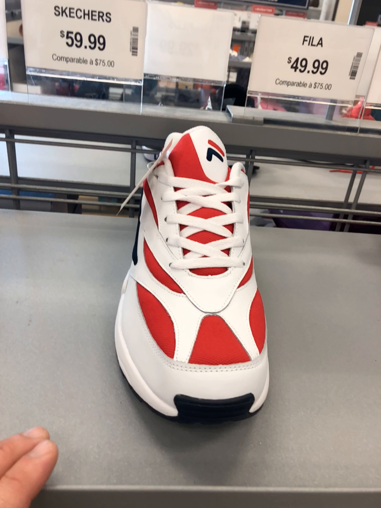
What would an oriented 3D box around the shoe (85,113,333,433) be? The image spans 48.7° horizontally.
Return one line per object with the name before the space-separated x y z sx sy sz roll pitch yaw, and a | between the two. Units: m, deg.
shoe | -0.003 -0.014 0.350 0.120 0.129 0.272 3 31 -6
